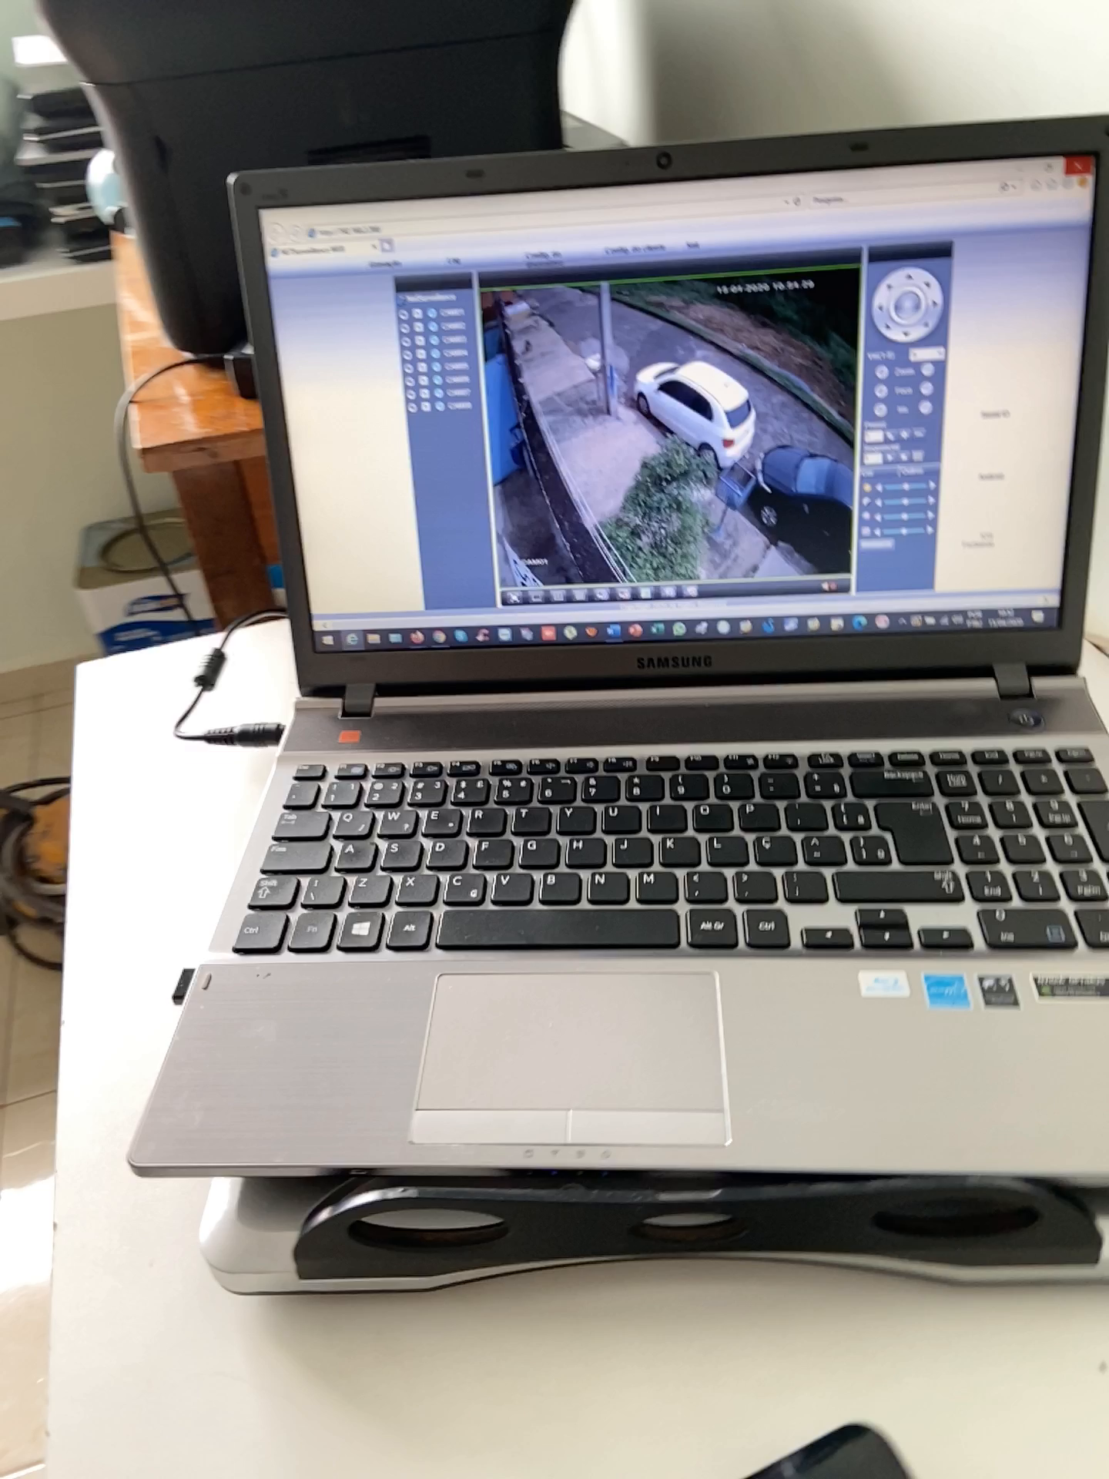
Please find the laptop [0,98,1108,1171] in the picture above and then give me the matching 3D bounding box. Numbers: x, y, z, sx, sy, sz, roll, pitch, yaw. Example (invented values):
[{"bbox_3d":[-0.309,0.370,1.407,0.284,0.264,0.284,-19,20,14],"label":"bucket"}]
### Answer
[{"bbox_3d":[0.045,-0.061,0.416,0.367,0.213,0.337,-2,40,6],"label":"laptop"}]
